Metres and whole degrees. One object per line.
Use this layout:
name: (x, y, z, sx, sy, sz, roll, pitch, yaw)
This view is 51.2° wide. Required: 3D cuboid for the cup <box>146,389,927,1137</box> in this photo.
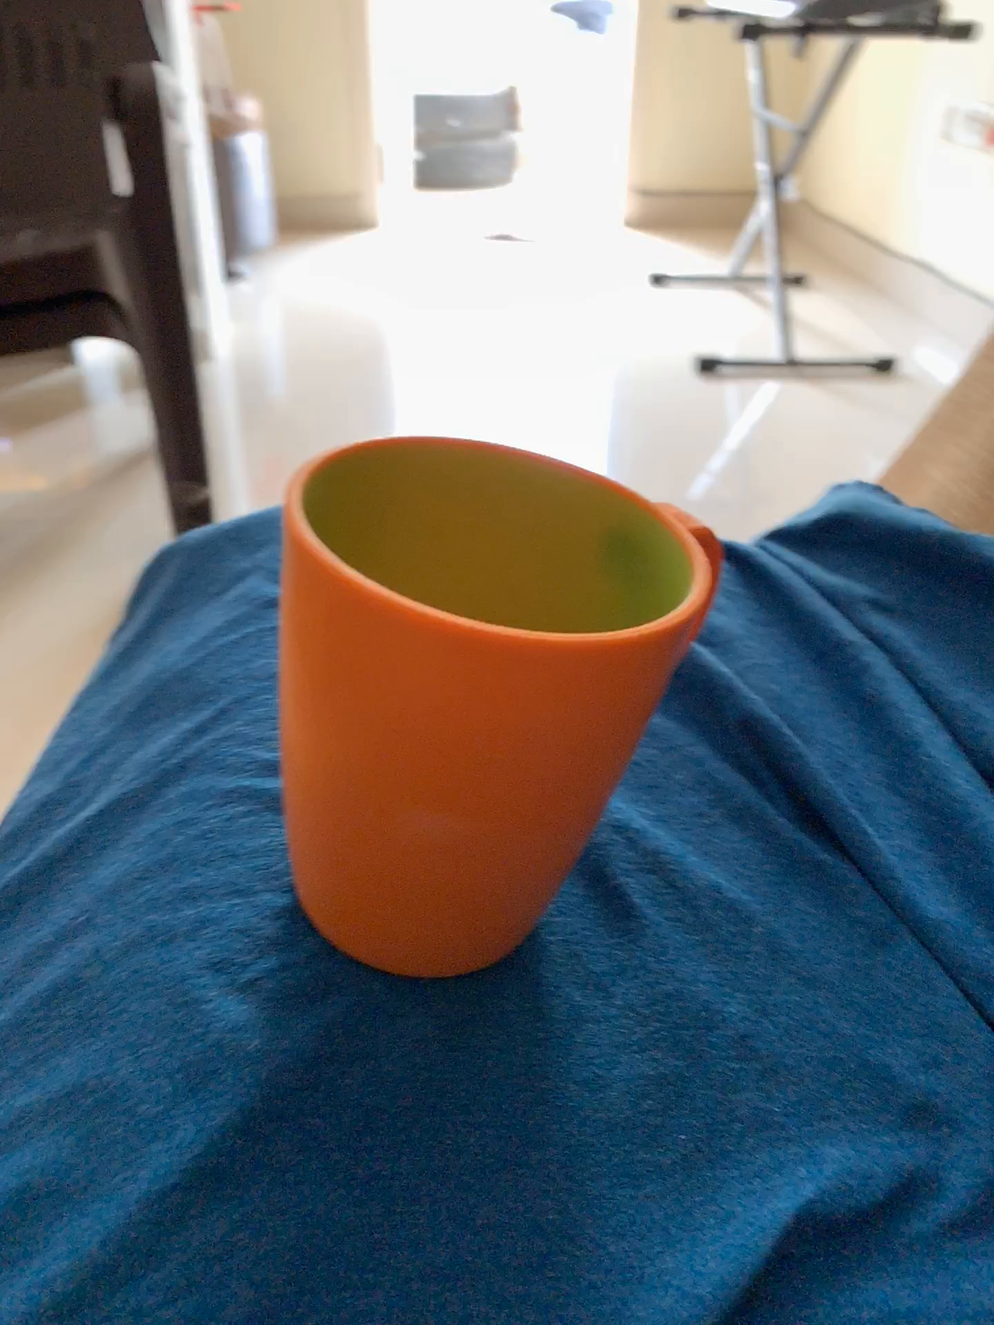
cup: (0.009, 0.007, 0.230, 0.100, 0.089, 0.120, 36, 35, 25)
